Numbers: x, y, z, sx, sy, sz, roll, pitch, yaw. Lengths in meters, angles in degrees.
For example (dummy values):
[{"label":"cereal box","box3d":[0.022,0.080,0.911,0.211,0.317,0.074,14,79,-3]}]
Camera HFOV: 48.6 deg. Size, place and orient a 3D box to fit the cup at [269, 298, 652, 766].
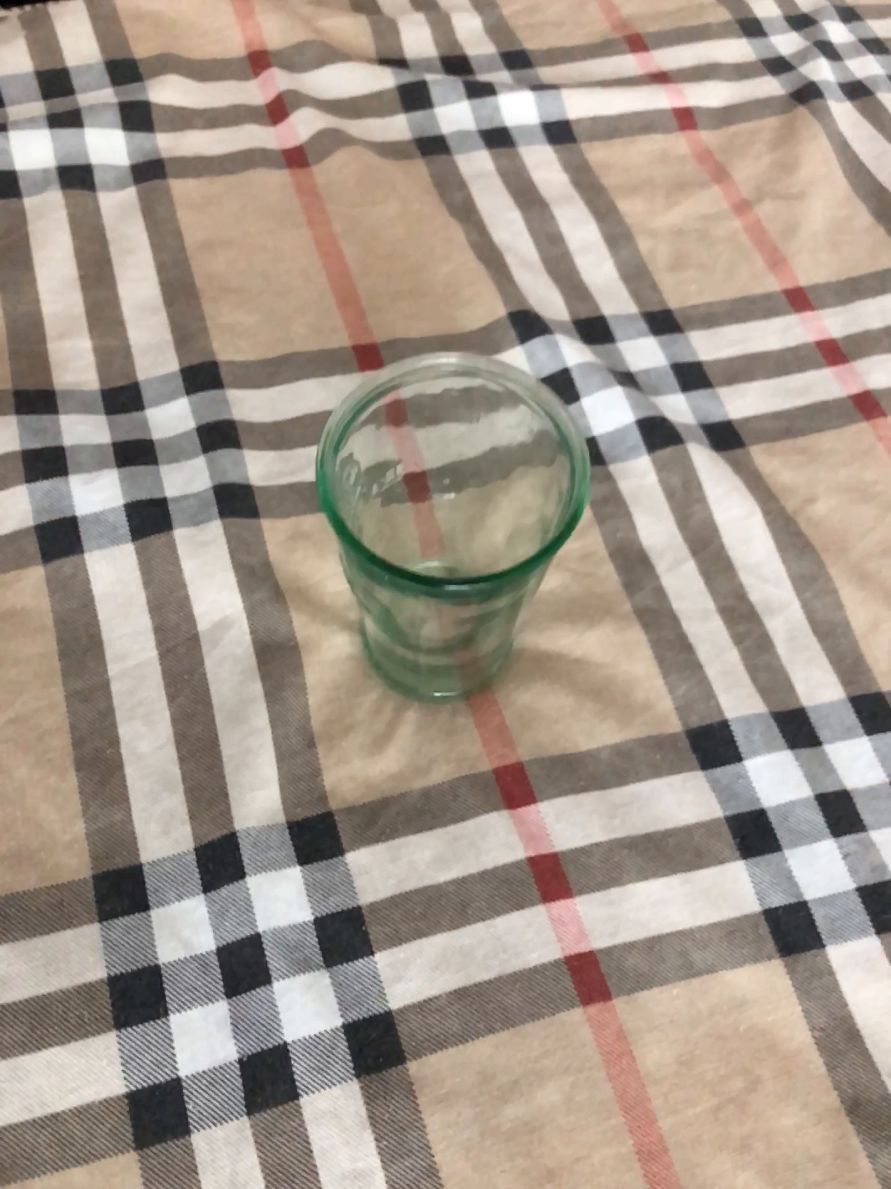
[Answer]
[{"label":"cup","box3d":[0.002,-0.014,0.321,0.082,0.112,0.085,2,63,-5]}]
